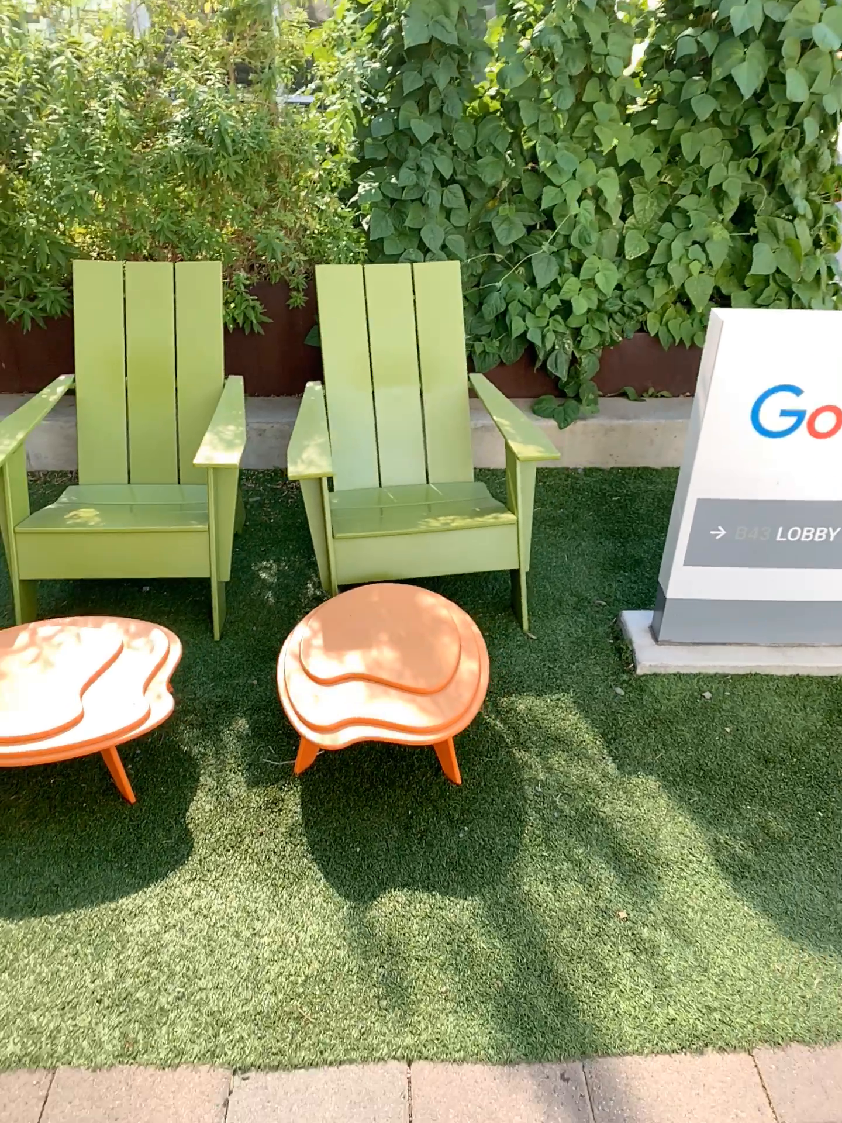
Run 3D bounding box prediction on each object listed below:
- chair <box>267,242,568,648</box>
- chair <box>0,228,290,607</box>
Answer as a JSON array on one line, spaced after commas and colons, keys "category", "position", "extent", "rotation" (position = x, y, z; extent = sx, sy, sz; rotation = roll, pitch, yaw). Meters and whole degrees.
[{"category": "chair", "position": [-0.016, -0.390, 2.615], "extent": [0.730, 1.016, 0.823], "rotation": [-3, 16, -3]}, {"category": "chair", "position": [-0.865, -0.477, 2.703], "extent": [0.770, 1.006, 0.823], "rotation": [0, 17, -2]}]
